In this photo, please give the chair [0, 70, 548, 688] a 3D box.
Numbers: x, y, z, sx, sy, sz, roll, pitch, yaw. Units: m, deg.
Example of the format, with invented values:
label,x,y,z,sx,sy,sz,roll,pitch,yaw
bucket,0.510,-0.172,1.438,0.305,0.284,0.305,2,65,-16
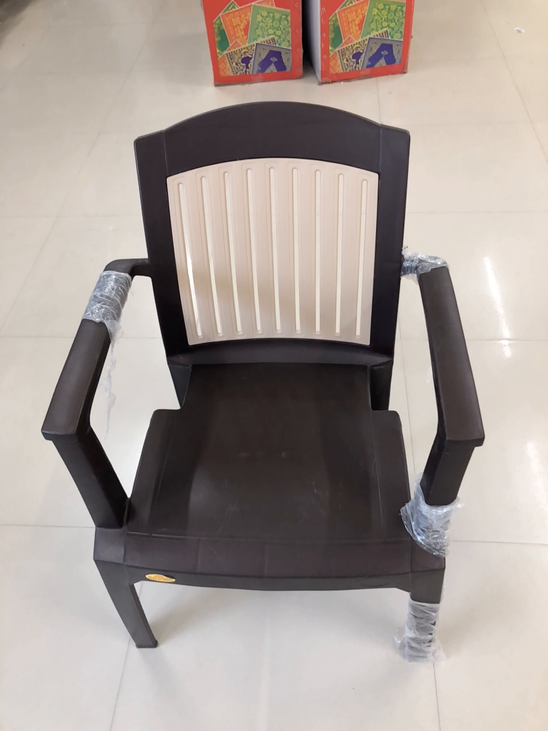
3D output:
label,x,y,z,sx,sy,sz,roll,pitch,yaw
chair,-0.007,0.020,0.868,0.600,0.557,0.654,-3,48,2
